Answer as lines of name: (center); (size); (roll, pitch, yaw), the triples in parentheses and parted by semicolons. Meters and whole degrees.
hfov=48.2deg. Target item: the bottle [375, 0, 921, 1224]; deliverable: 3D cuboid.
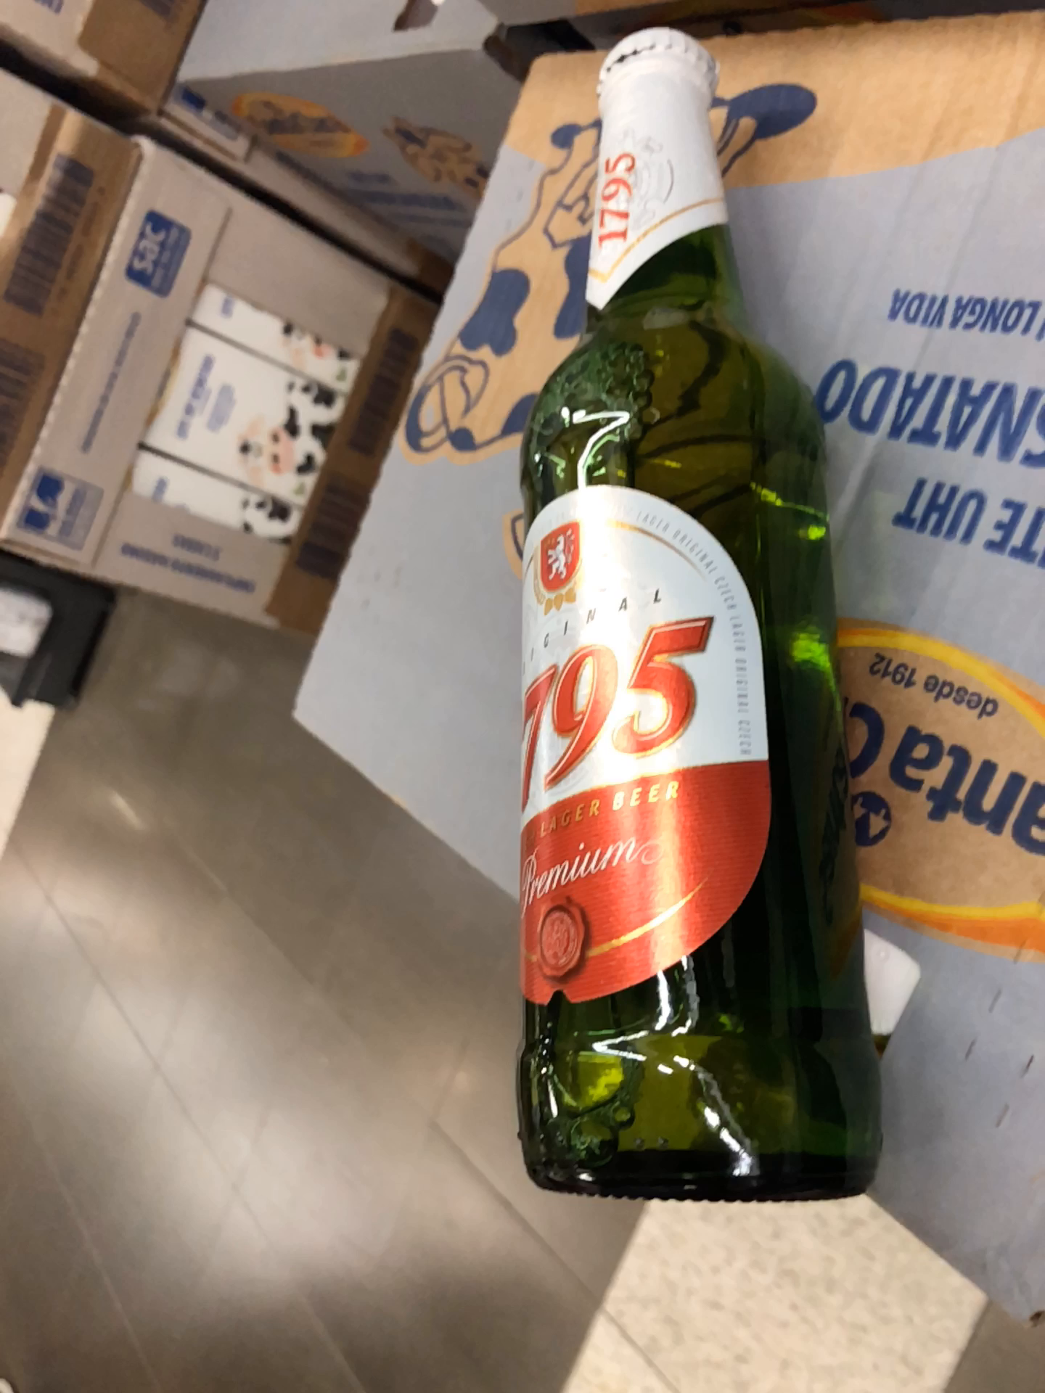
bottle: (0.024, -0.042, 0.244); (0.070, 0.060, 0.270); (-18, 62, 43)
